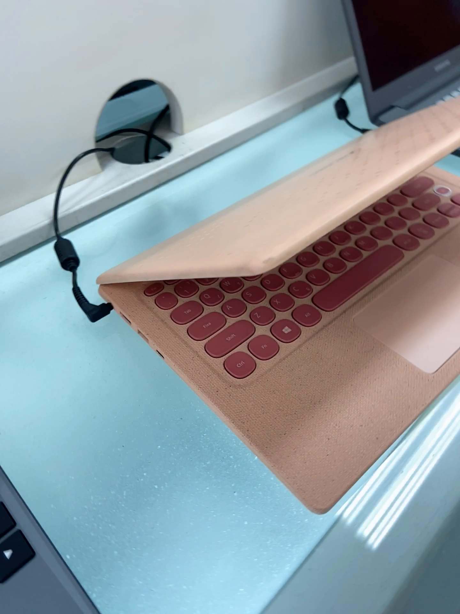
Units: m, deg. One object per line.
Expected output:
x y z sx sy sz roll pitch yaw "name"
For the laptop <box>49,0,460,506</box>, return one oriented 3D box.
0.094 -0.081 0.320 0.324 0.129 0.211 -33 53 -27 "laptop"
